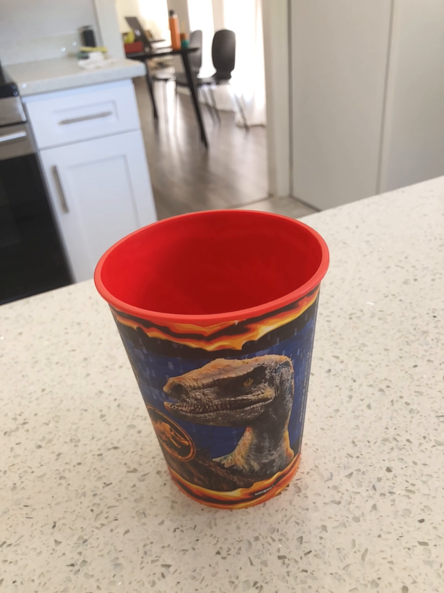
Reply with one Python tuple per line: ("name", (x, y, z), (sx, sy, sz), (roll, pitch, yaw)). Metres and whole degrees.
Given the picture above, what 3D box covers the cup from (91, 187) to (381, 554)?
("cup", (0.002, 0.026, 0.219), (0.090, 0.110, 0.090), (-4, 31, 3))
